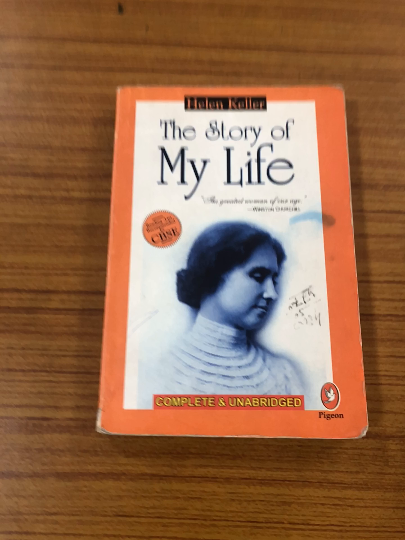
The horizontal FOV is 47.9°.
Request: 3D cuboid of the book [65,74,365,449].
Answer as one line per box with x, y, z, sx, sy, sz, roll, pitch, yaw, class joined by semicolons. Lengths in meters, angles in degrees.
0.005;-0.008;0.216;0.120;0.030;0.170;0;77;-1;book
